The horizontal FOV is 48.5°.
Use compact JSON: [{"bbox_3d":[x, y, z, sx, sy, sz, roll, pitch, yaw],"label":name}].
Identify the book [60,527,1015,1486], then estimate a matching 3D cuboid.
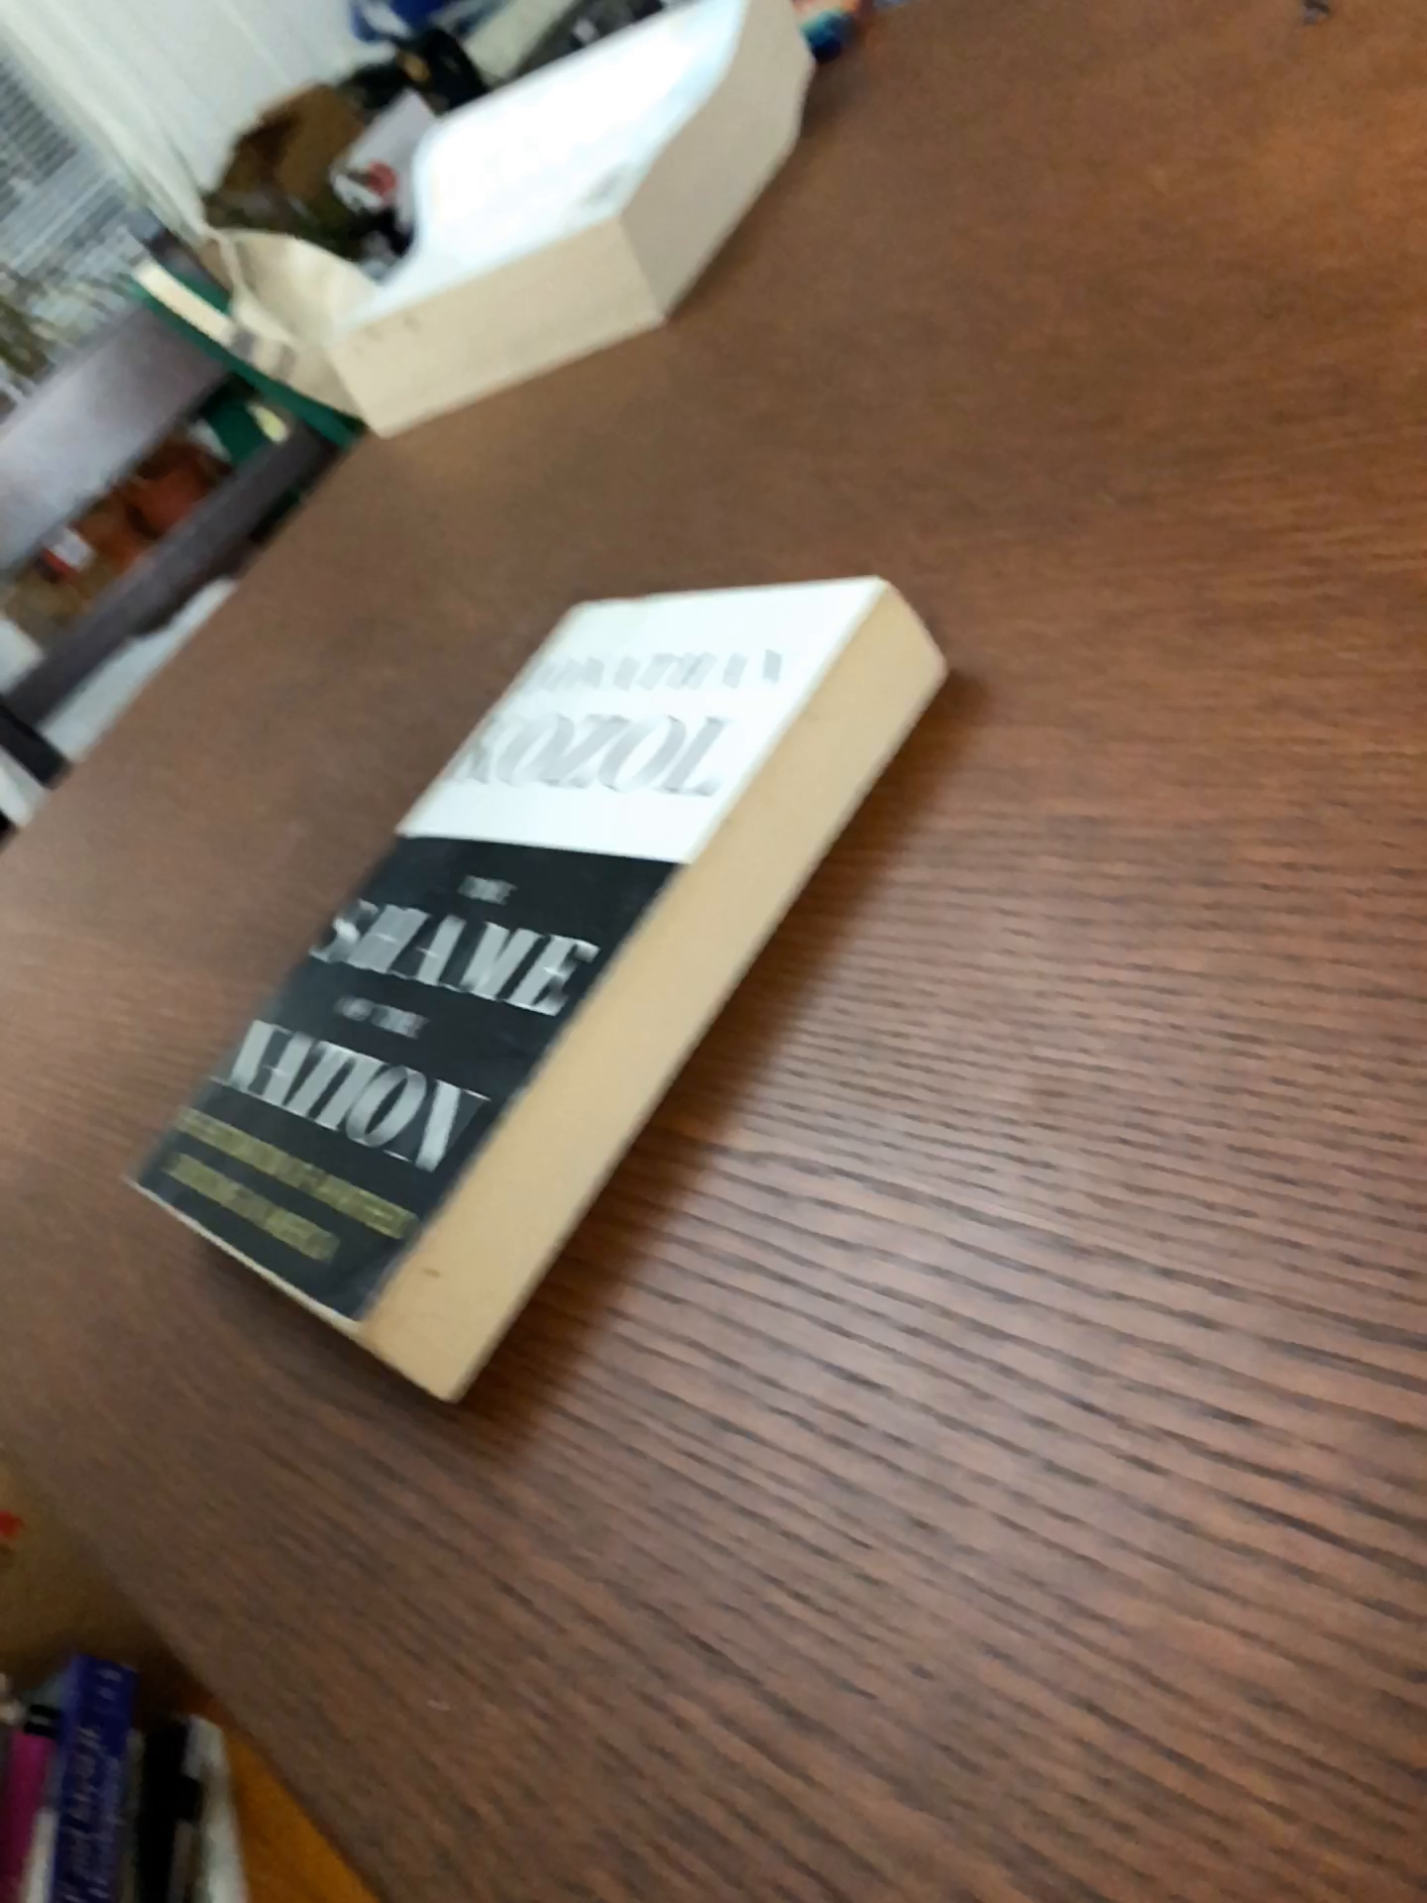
[{"bbox_3d":[-0.049,-0.007,0.393,0.161,0.030,0.230,11,61,51],"label":"book"}]
